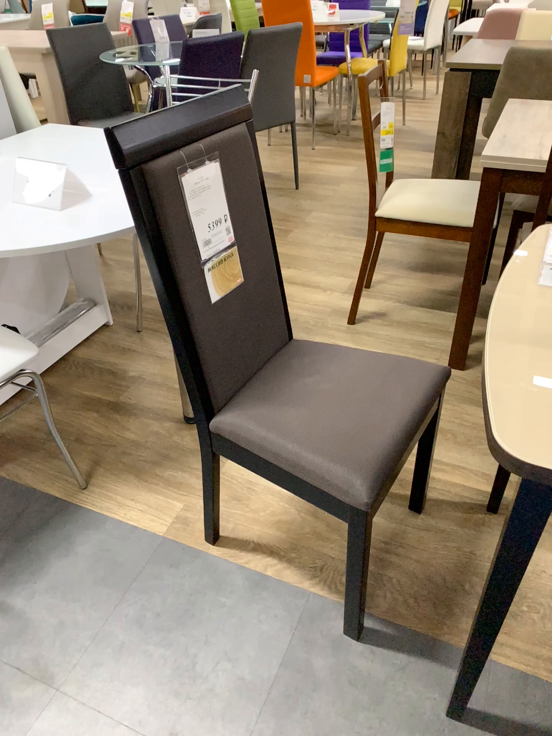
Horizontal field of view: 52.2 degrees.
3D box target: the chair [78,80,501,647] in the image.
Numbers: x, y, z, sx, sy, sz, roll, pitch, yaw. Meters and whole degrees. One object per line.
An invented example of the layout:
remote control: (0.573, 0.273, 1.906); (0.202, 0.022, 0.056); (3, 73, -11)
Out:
chair: (0.053, 0.009, 1.171); (0.501, 0.994, 0.442); (19, 42, 27)
